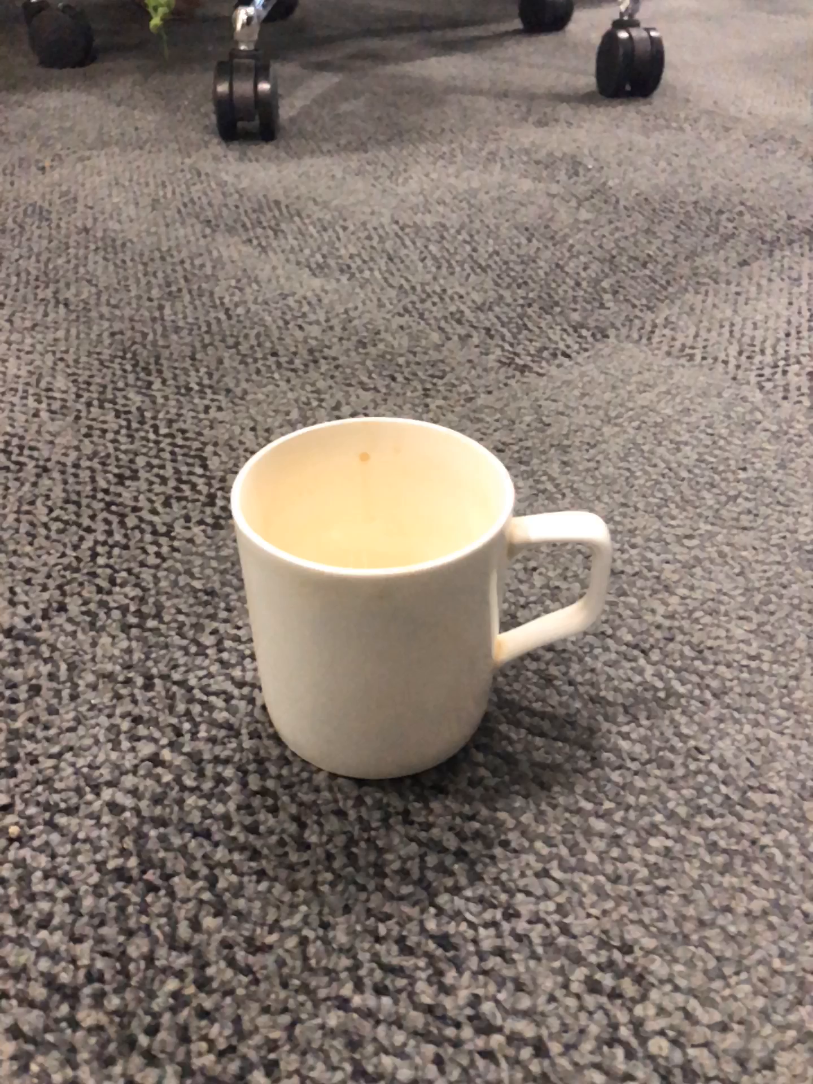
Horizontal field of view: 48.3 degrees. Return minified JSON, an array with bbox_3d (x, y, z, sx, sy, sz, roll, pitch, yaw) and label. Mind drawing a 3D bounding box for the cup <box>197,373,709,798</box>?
[{"bbox_3d":[0.007,0.008,0.224,0.100,0.070,0.070,-4,37,-4],"label":"cup"}]
